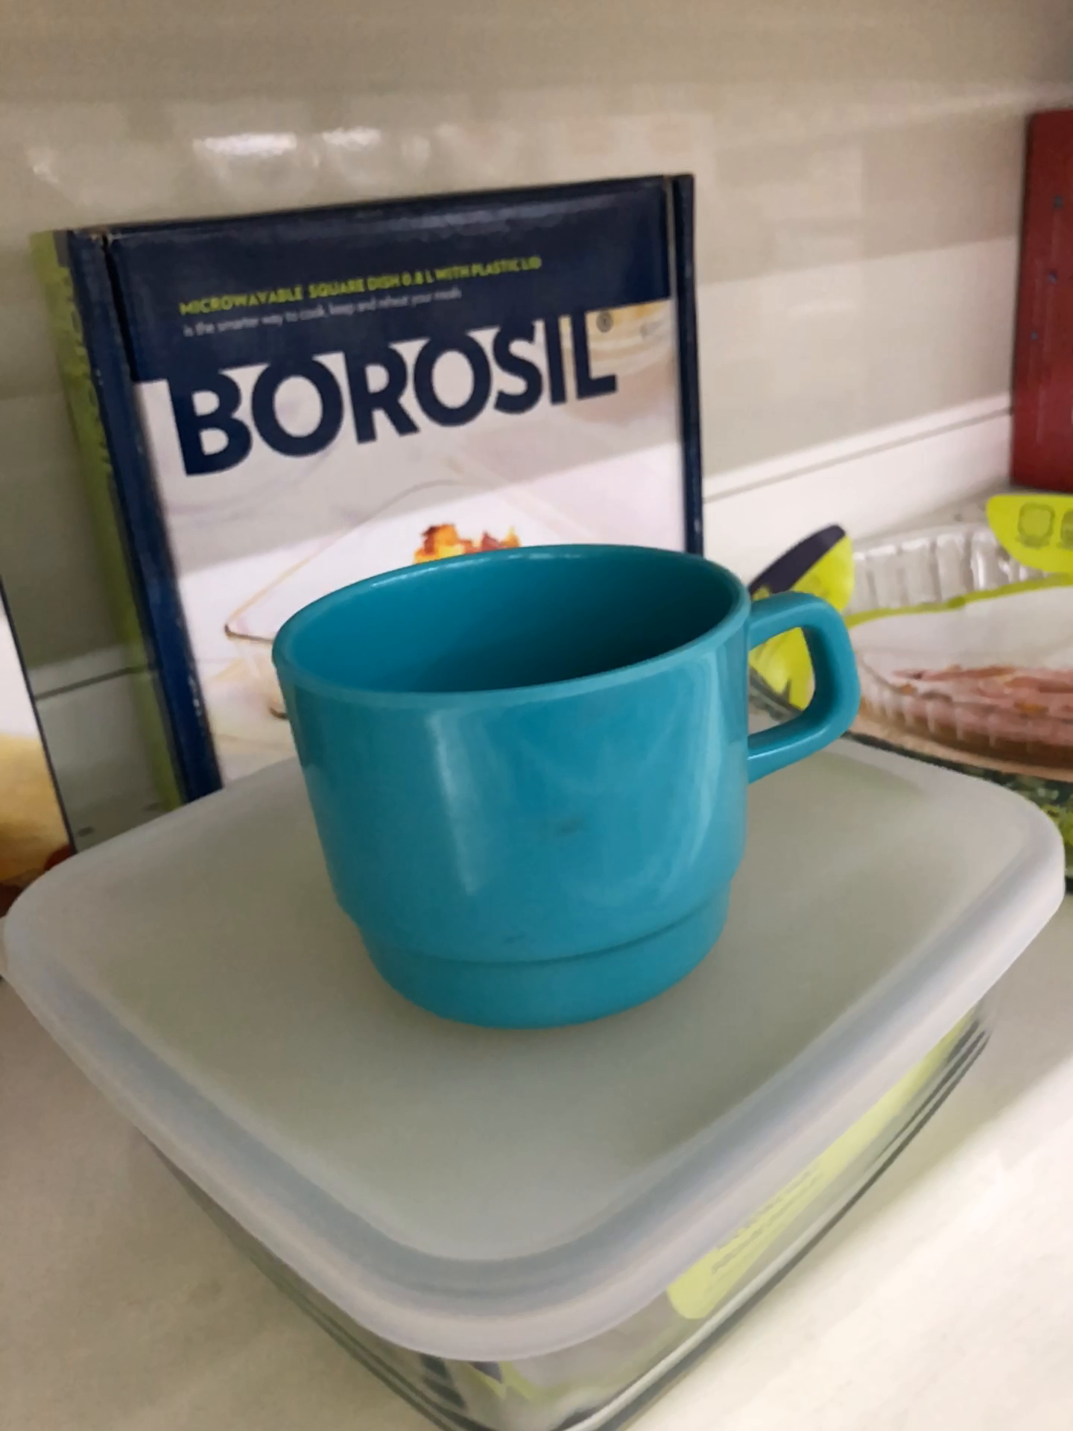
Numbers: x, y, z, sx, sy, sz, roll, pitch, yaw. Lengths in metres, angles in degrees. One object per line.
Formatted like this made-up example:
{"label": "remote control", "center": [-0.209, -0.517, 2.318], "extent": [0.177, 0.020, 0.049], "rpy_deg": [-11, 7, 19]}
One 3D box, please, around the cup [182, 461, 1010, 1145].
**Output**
{"label": "cup", "center": [0.011, 0.002, 0.230], "extent": [0.120, 0.070, 0.090], "rpy_deg": [-18, 25, -27]}
